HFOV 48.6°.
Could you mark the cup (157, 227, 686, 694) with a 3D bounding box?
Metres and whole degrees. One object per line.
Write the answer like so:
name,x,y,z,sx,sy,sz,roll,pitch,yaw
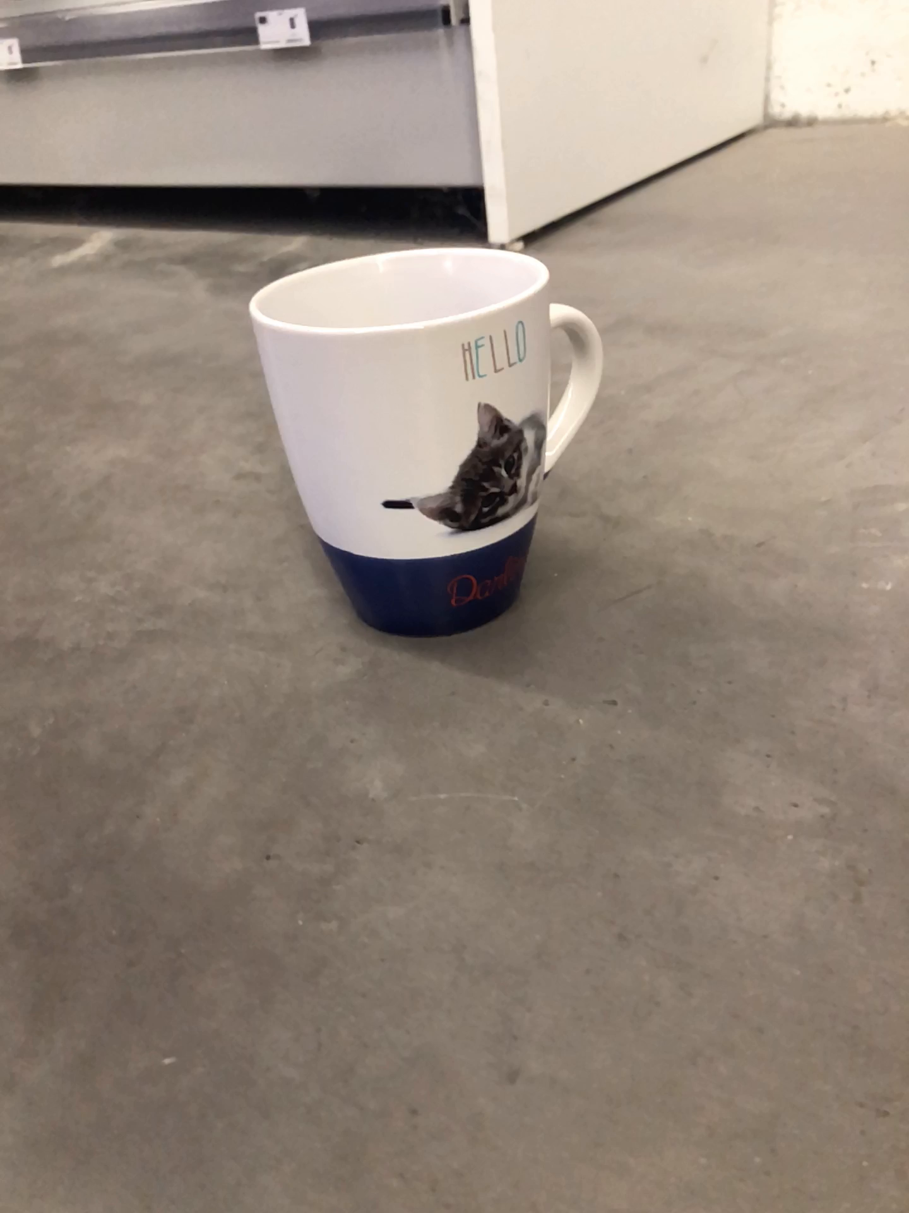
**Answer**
cup,-0.008,-0.060,0.343,0.127,0.098,0.111,-26,36,-29
